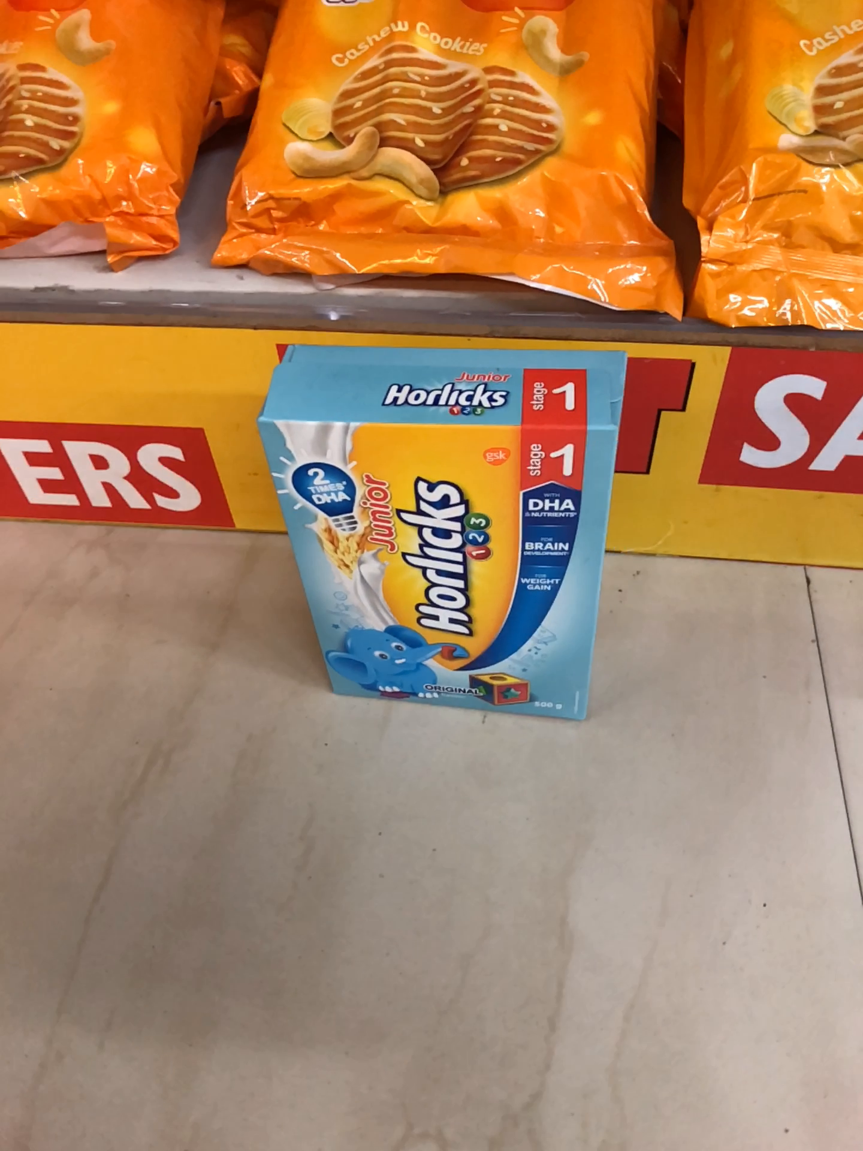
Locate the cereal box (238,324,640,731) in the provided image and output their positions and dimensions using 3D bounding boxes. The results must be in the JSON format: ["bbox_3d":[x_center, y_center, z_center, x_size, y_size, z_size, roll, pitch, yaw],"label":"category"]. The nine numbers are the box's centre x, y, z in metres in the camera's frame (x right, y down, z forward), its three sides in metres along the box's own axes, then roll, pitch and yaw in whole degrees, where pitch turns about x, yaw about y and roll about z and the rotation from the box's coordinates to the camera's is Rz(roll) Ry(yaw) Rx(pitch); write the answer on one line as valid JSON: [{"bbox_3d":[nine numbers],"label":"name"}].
[{"bbox_3d":[0.012,-0.011,0.423,0.140,0.199,0.050,5,52,10],"label":"cereal box"}]
